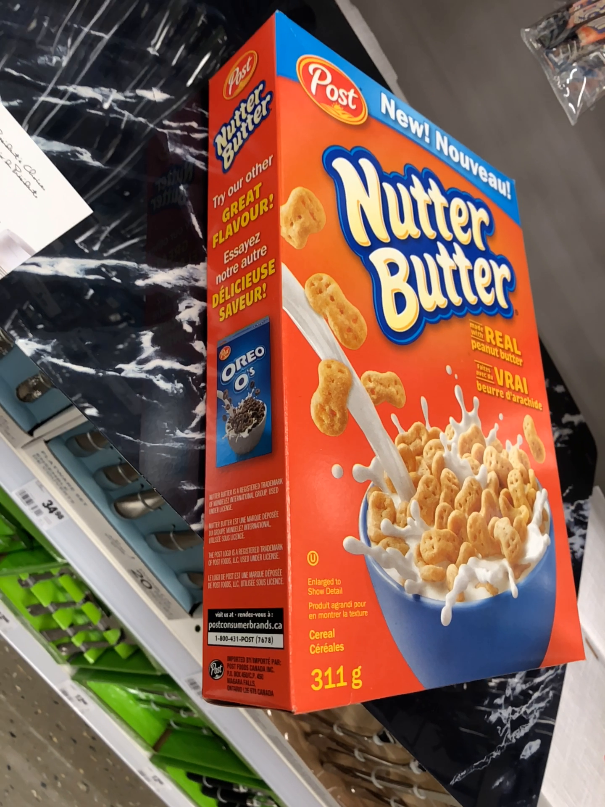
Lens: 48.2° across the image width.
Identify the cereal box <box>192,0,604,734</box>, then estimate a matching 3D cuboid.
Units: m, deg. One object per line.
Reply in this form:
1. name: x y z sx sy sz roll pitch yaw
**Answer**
1. cereal box: 0.053 -0.024 0.328 0.211 0.050 0.300 12 70 -40
